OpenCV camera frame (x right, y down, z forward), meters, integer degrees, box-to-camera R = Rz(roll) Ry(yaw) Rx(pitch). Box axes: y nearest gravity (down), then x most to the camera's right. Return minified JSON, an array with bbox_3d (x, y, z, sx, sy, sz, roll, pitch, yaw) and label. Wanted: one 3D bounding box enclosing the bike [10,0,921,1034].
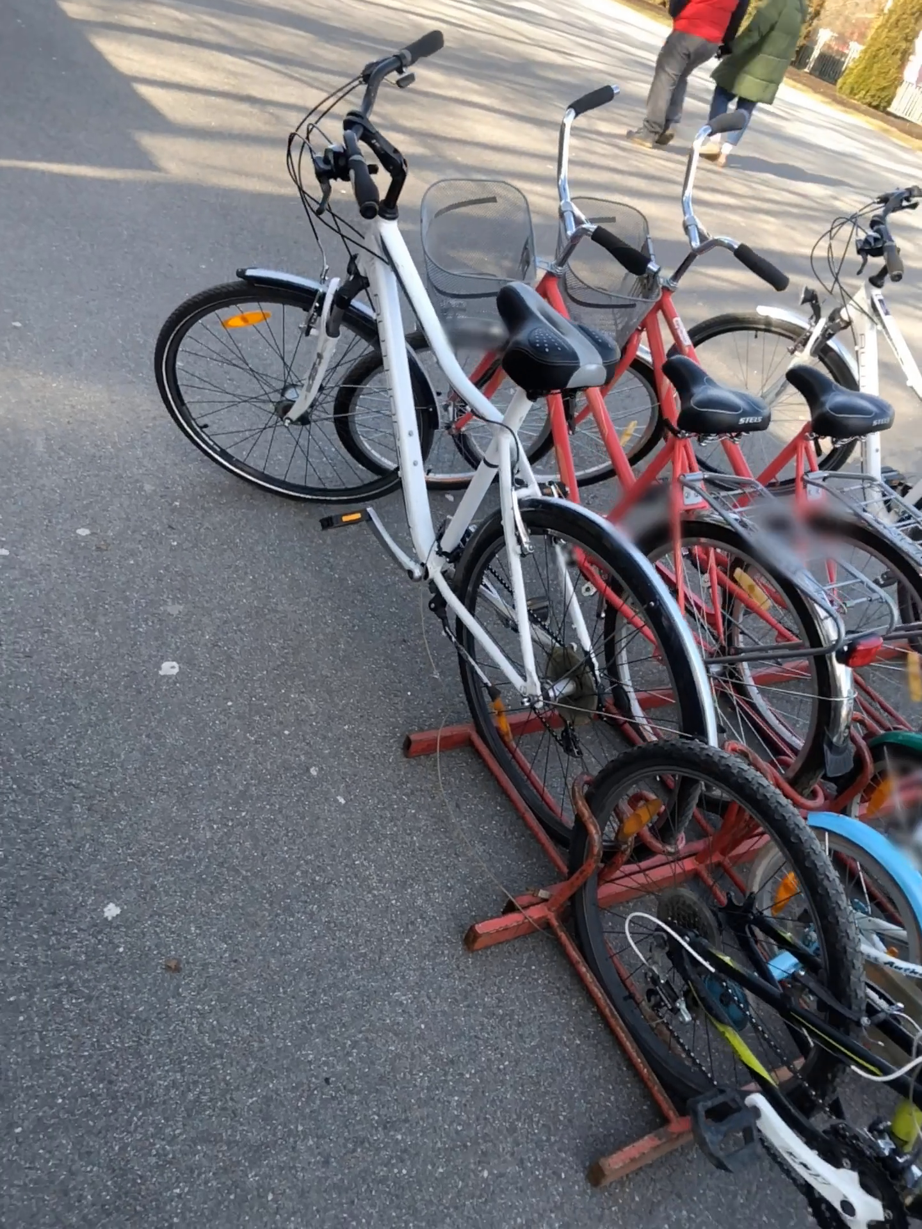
[{"bbox_3d":[-0.111,-0.317,1.875,0.621,1.163,1.603,-17,50,-45],"label":"bike"}]
